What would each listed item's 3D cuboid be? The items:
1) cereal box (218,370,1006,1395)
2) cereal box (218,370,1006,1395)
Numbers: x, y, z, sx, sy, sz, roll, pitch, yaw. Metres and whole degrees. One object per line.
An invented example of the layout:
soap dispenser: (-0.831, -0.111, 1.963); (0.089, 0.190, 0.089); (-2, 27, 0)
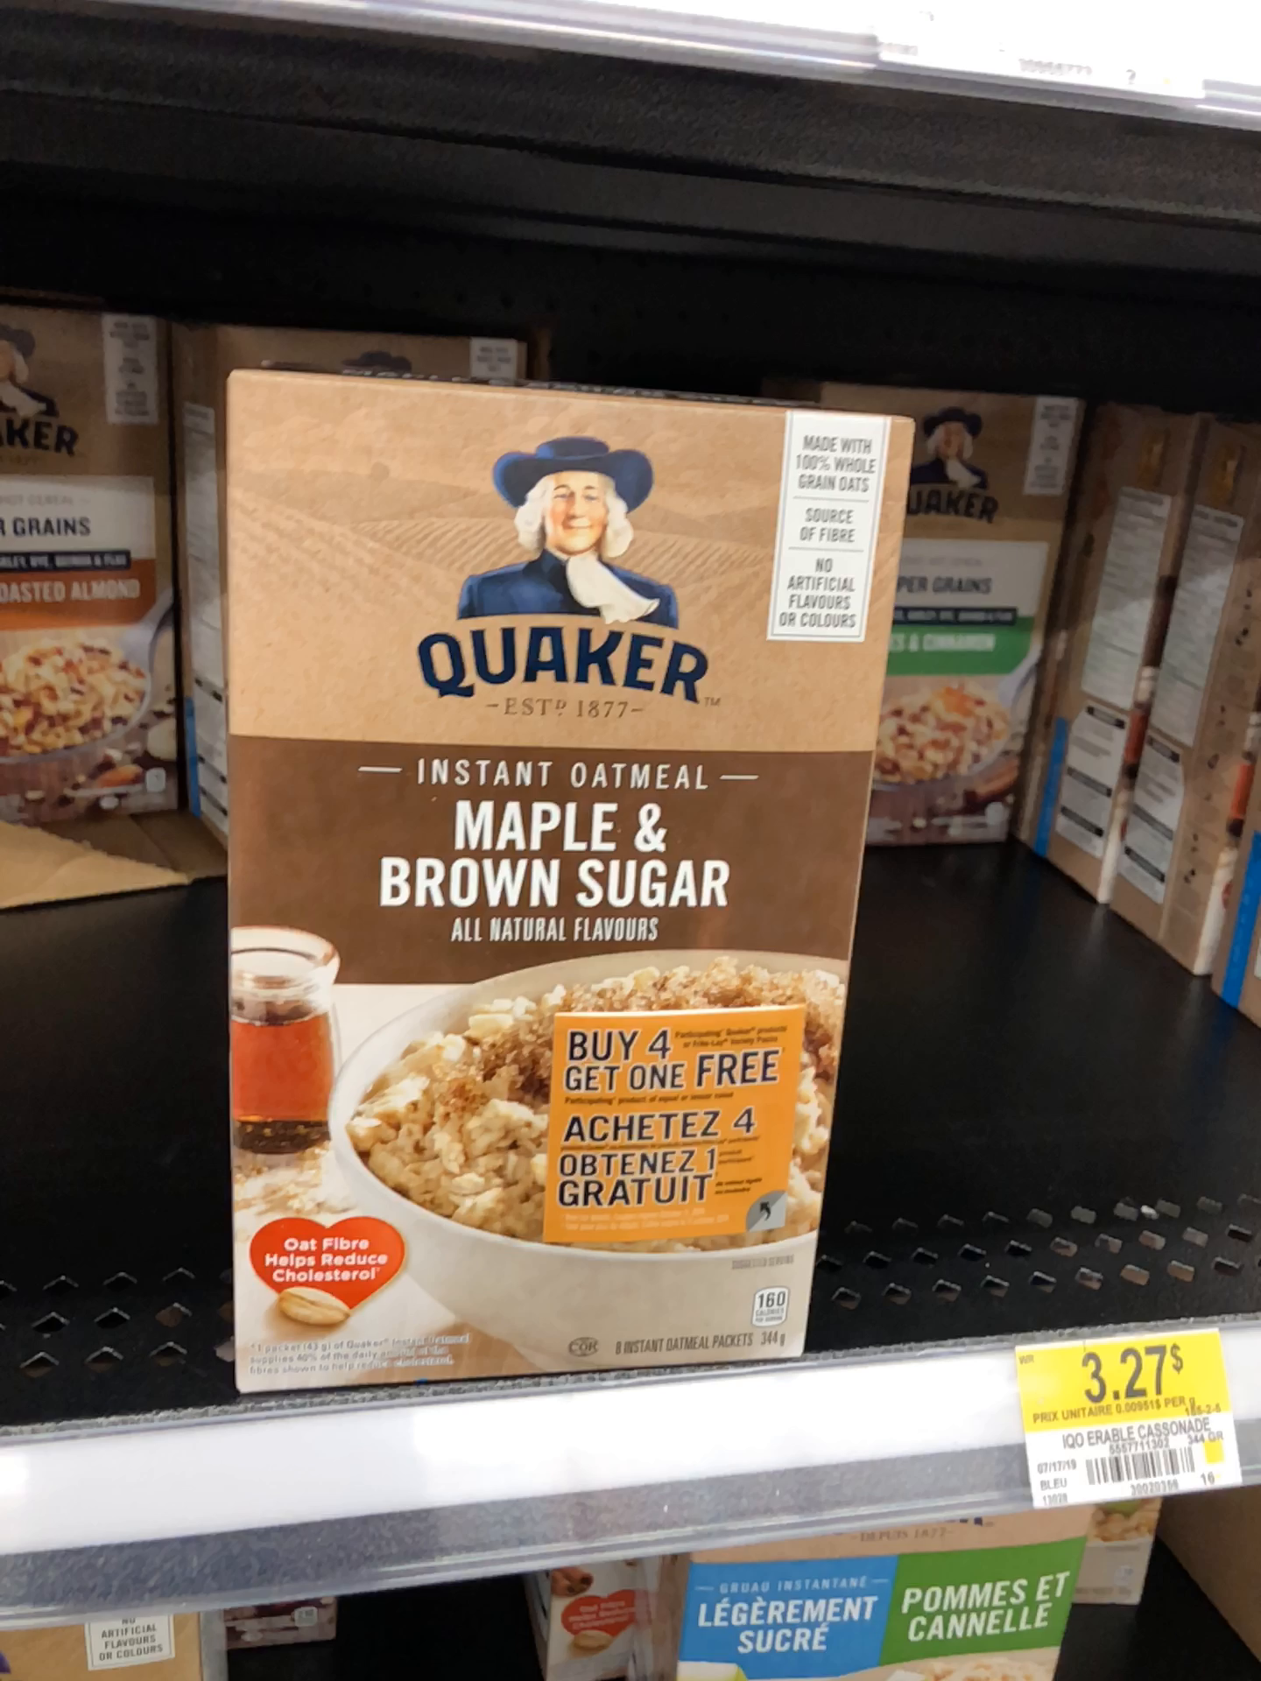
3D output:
cereal box: (-0.011, 0.009, 0.284); (0.130, 0.189, 0.060); (0, 18, -11)
cereal box: (-0.011, 0.009, 0.284); (0.130, 0.189, 0.060); (0, 18, -11)
